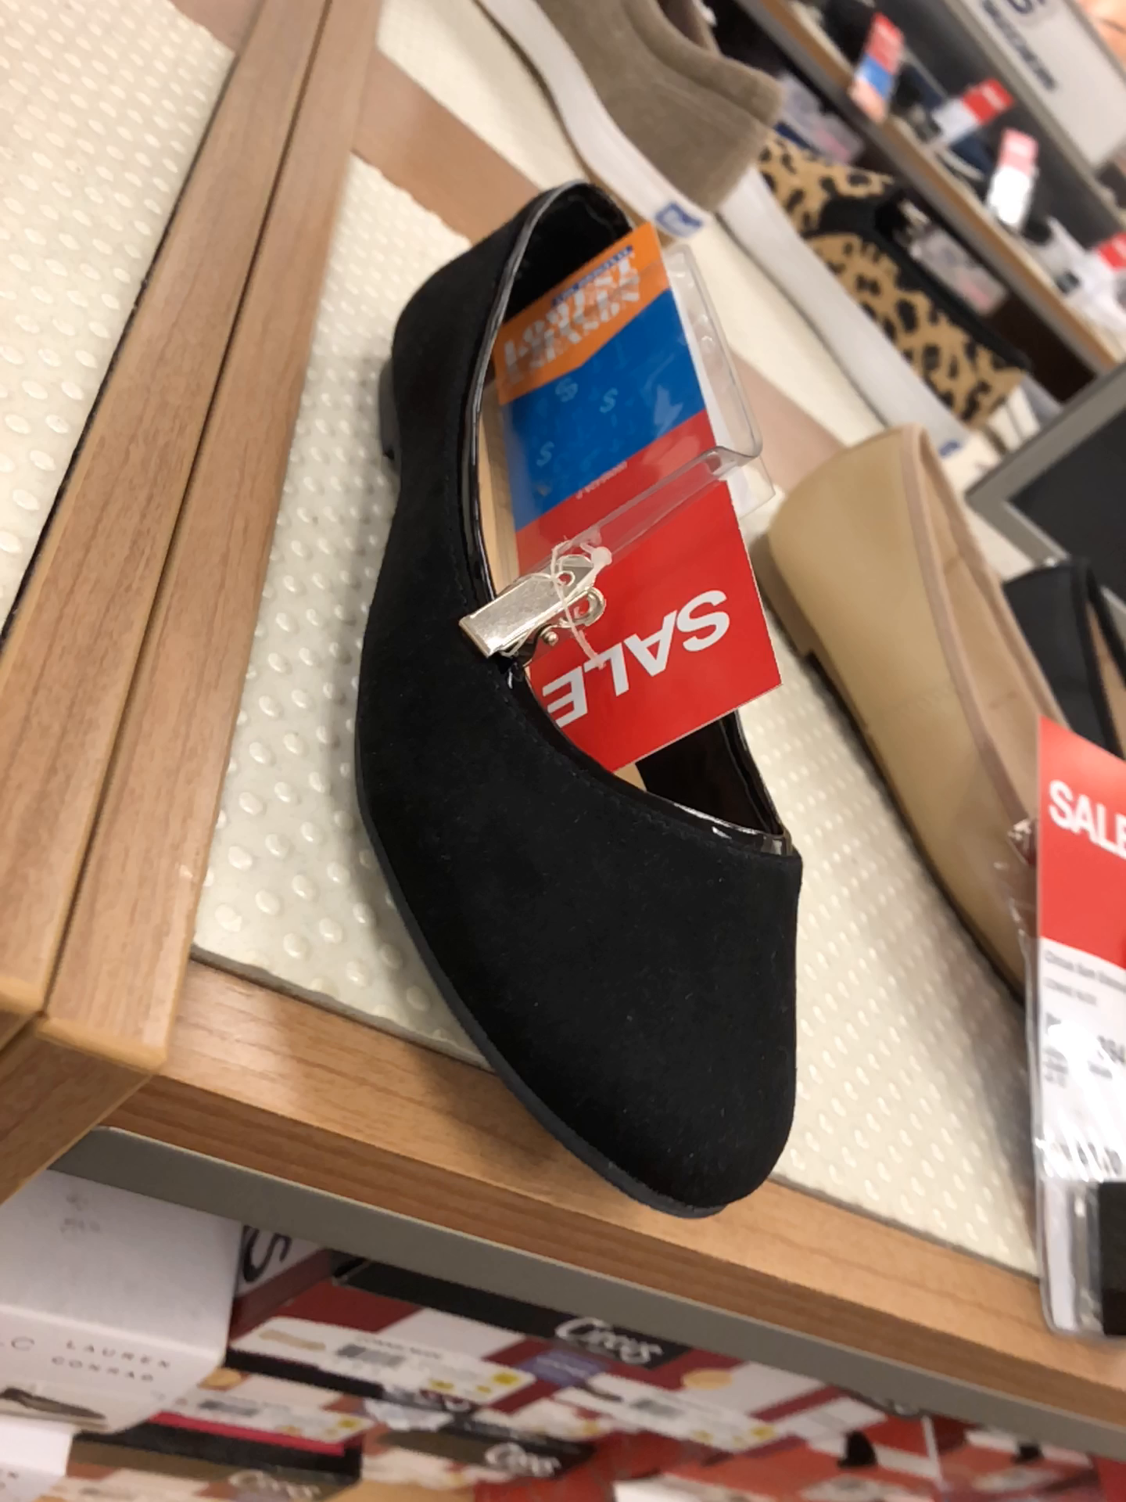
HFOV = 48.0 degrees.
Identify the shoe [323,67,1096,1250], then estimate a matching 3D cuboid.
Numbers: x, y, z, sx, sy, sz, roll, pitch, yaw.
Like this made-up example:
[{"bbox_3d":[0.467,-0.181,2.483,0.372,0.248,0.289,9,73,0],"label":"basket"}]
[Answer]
[{"bbox_3d":[0.010,-0.034,0.260,0.091,0.064,0.238,24,40,-35],"label":"shoe"}]
